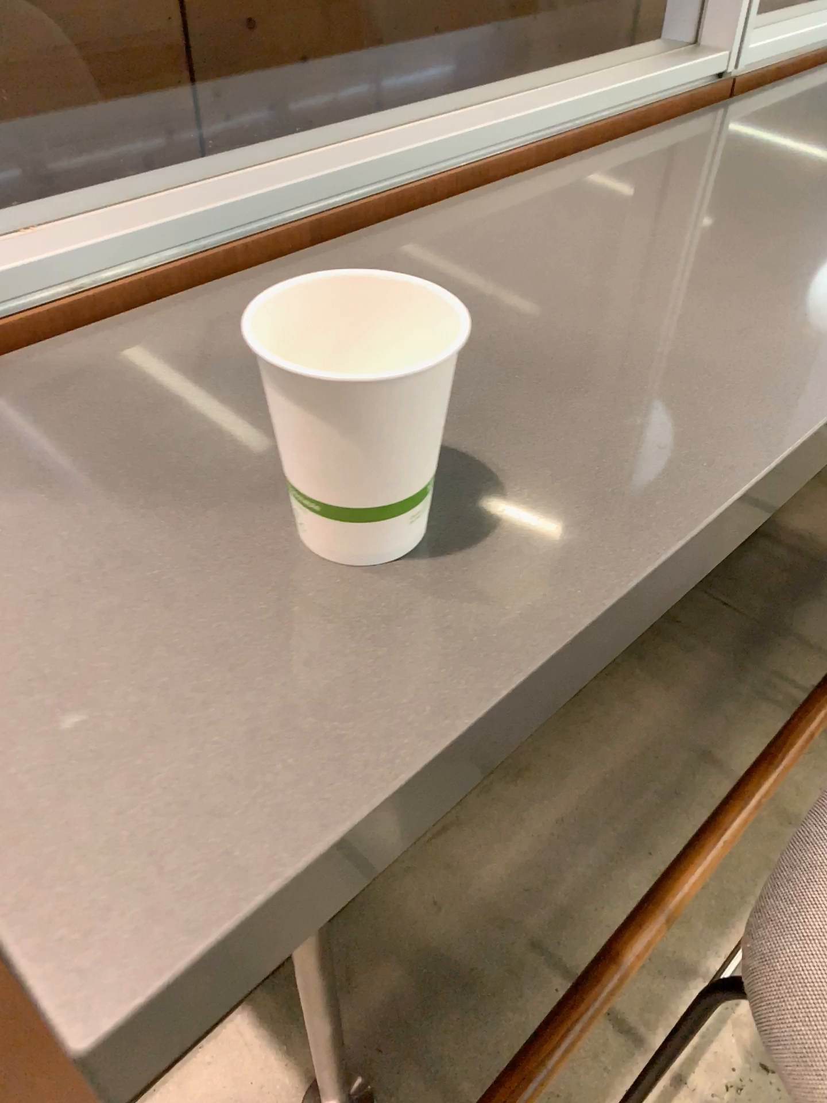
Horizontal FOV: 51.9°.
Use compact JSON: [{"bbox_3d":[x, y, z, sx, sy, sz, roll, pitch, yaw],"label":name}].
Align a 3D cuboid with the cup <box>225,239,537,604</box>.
[{"bbox_3d":[-0.016,-0.055,0.345,0.090,0.099,0.091,0,41,0],"label":"cup"}]
